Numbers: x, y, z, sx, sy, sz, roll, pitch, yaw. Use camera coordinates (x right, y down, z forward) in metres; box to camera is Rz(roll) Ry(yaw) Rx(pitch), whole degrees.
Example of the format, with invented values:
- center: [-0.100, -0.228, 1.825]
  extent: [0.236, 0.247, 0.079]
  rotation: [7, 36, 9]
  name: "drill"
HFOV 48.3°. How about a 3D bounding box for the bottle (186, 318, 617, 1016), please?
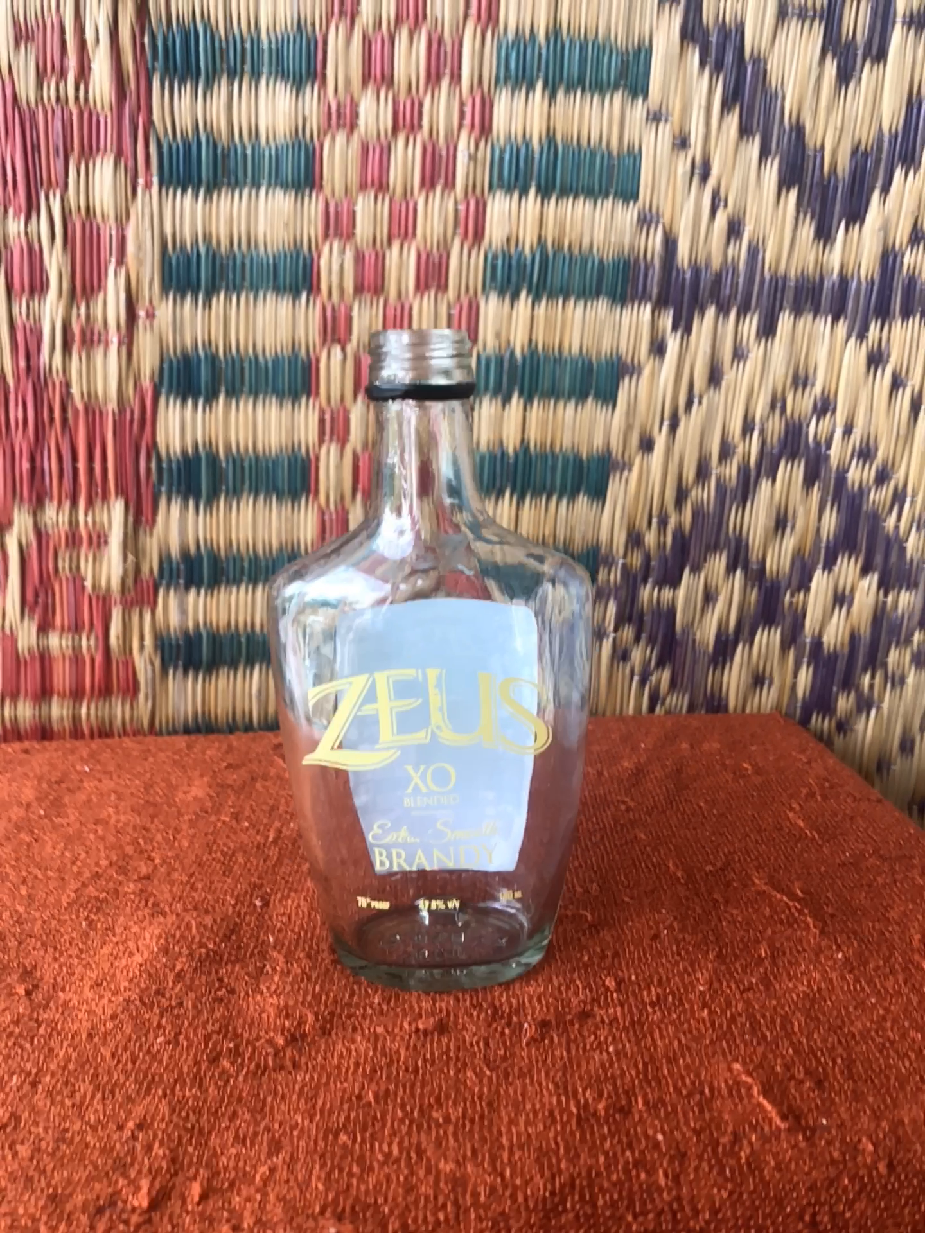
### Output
- center: [-0.012, 0.012, 0.231]
  extent: [0.080, 0.149, 0.040]
  rotation: [1, 17, 1]
  name: "bottle"
